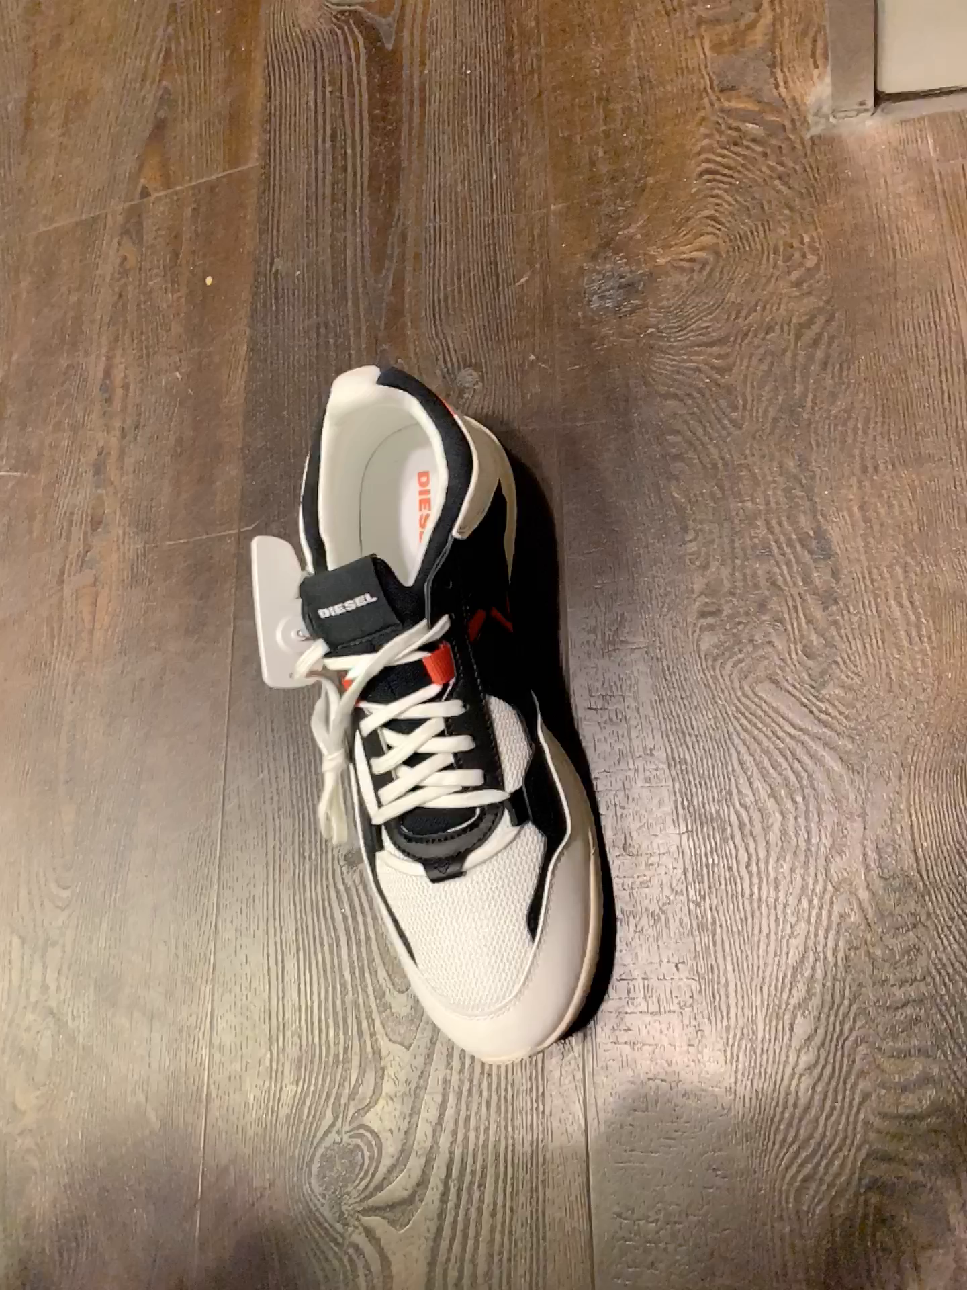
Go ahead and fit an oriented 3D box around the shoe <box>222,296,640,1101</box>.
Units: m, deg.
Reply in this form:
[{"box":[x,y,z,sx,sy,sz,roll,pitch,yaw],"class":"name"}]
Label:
[{"box":[-0.026,0.021,0.432,0.110,0.110,0.301,-15,70,17],"class":"shoe"}]
